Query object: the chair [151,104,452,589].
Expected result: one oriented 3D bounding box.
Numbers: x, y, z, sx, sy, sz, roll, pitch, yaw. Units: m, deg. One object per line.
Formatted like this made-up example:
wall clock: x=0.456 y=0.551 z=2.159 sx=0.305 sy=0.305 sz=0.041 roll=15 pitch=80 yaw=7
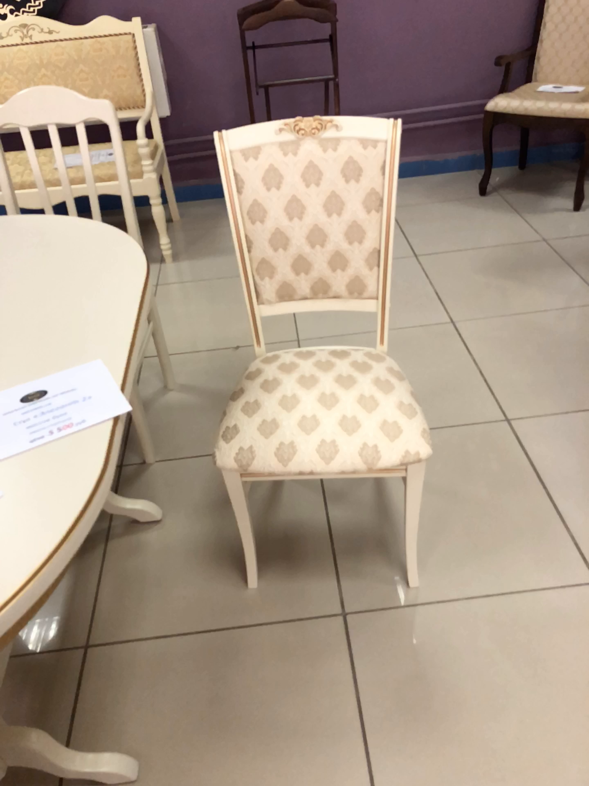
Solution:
chair: x=0.058 y=-0.062 z=1.426 sx=0.448 sy=0.944 sz=0.484 roll=-2 pitch=37 yaw=5
